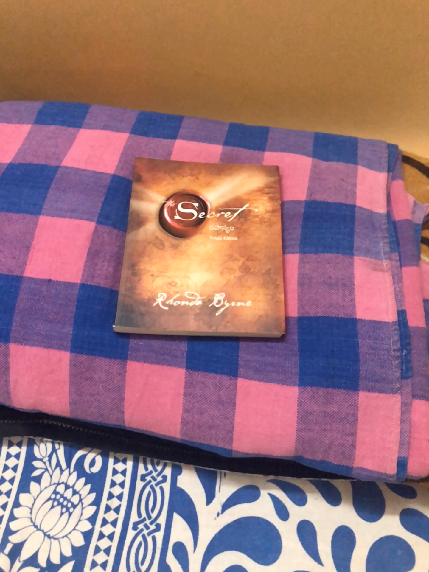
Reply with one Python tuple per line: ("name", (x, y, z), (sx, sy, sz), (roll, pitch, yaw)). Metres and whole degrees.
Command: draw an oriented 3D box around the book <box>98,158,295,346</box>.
("book", (-0.012, -0.039, 0.422), (0.150, 0.020, 0.191), (2, 56, 0))
